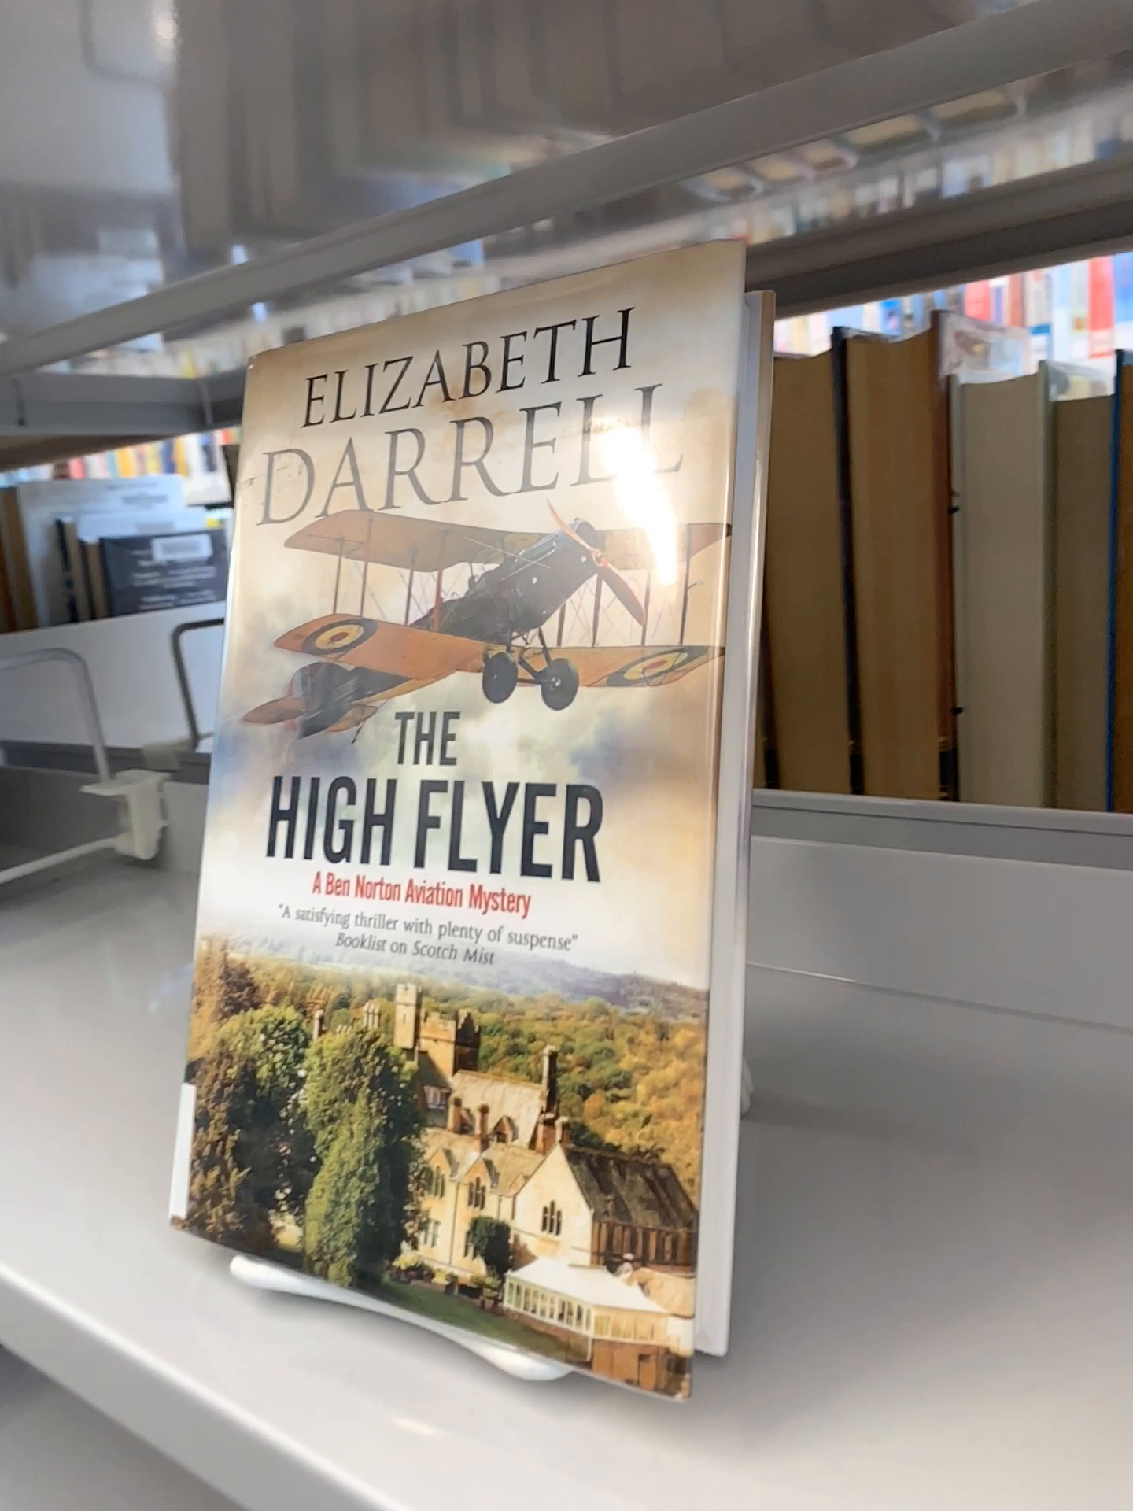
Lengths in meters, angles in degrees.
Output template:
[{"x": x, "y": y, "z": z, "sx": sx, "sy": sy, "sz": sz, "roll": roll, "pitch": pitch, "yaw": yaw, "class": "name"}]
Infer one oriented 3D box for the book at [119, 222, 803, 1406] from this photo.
[{"x": -0.029, "y": 0.006, "z": 0.264, "sx": 0.151, "sy": 0.215, "sz": 0.031, "roll": 1, "pitch": -5, "yaw": 31, "class": "book"}]
